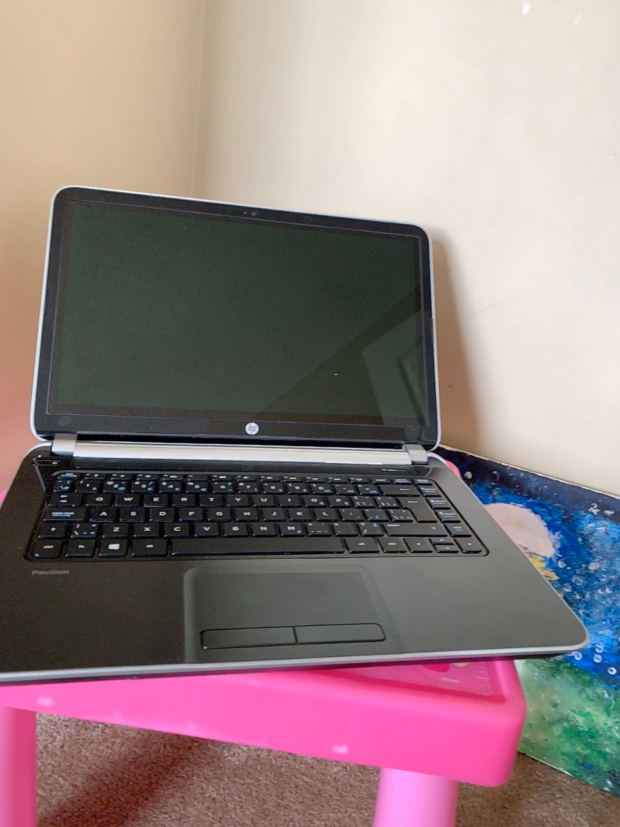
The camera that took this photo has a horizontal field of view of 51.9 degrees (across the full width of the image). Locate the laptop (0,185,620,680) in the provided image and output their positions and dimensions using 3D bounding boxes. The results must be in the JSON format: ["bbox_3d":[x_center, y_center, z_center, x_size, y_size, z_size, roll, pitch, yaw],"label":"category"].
[{"bbox_3d":[-0.017,-0.021,0.376,0.274,0.161,0.272,2,24,-13],"label":"laptop"}]
